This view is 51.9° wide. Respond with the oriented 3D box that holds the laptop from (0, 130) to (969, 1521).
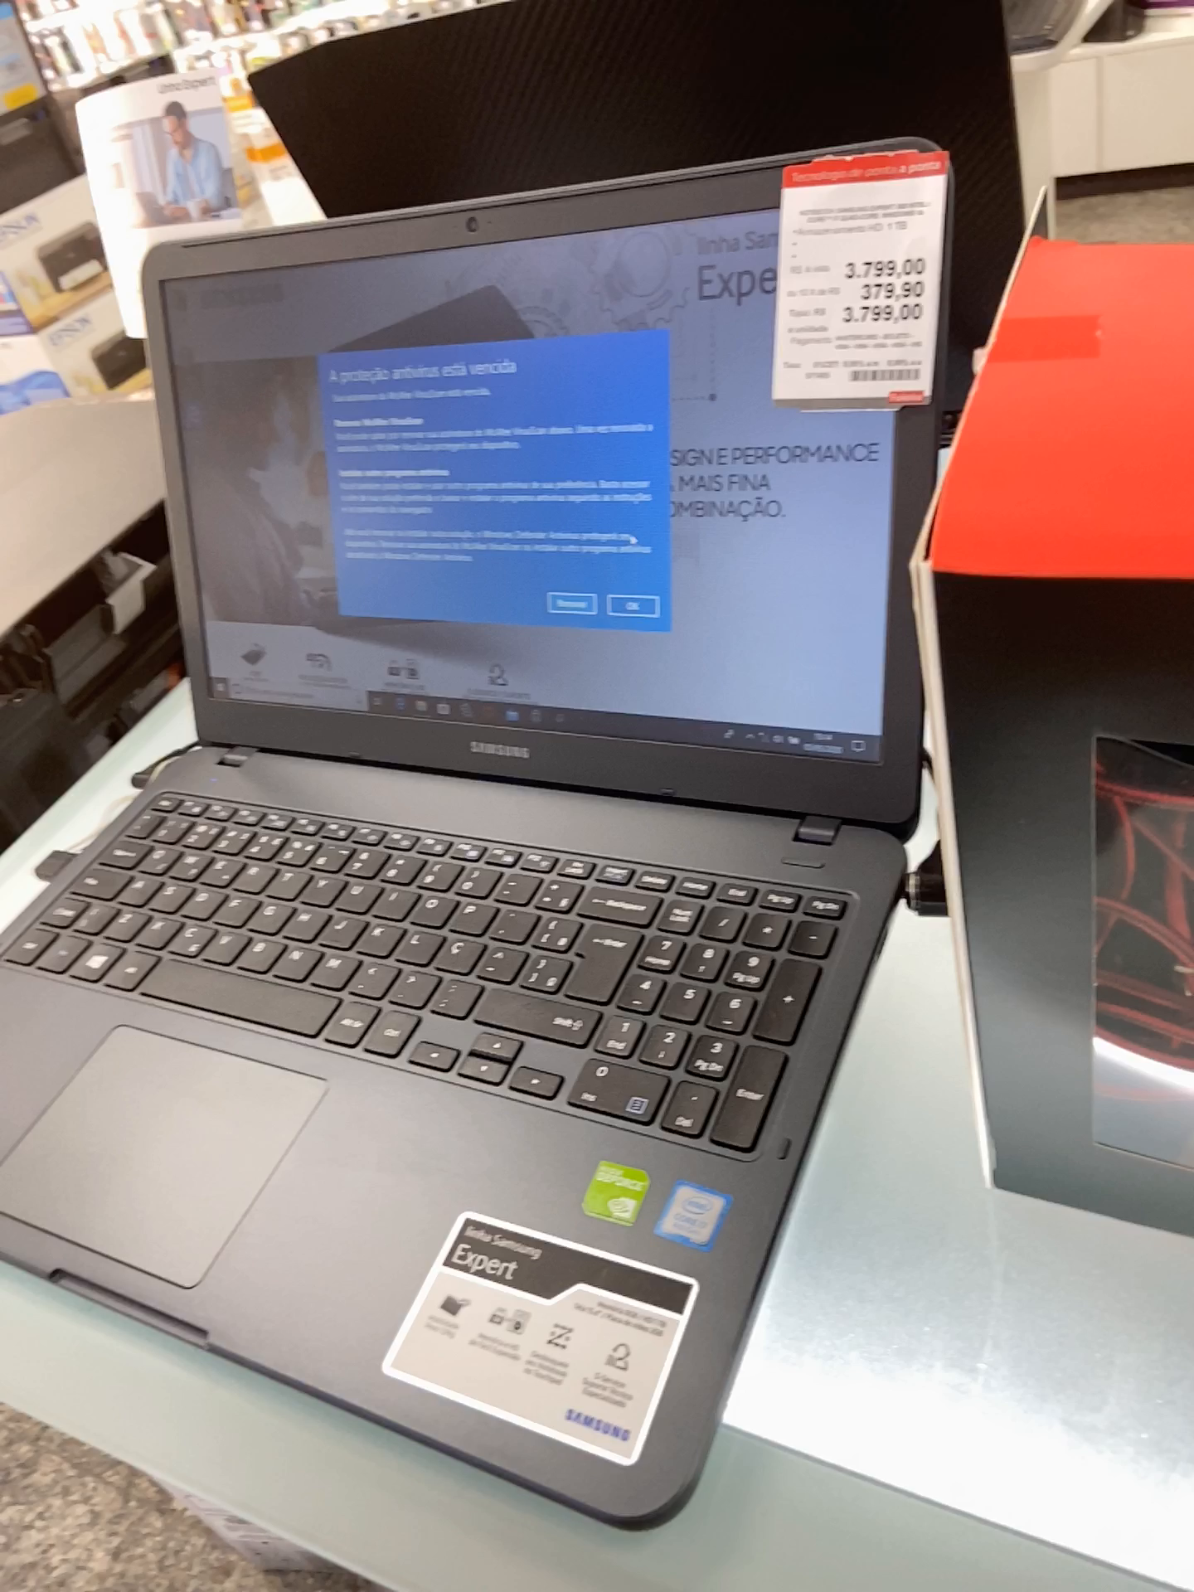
[{"bbox_3d":[-0.101,-0.041,0.444,0.371,0.207,0.373,6,45,27],"label":"laptop"}]
